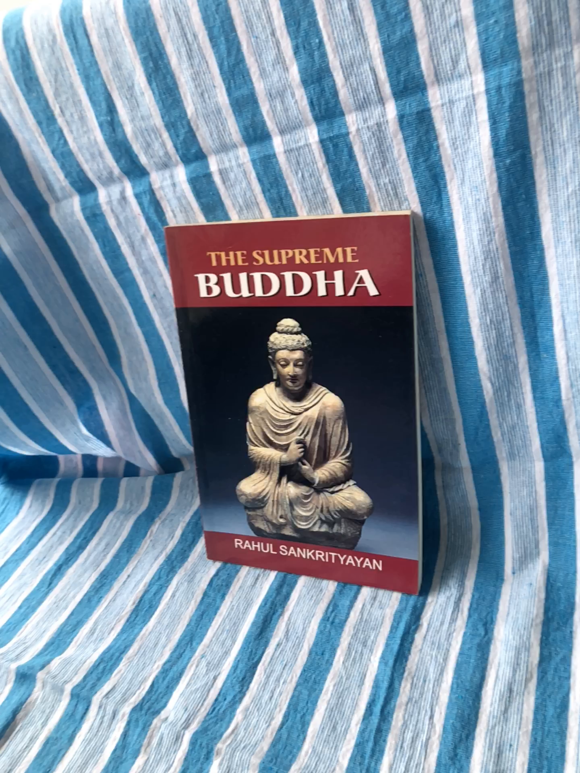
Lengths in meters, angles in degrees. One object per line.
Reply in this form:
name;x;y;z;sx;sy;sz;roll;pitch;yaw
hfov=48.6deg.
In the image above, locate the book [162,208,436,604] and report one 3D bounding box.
book;0.008;0.013;0.376;0.150;0.219;0.020;3;18;23
